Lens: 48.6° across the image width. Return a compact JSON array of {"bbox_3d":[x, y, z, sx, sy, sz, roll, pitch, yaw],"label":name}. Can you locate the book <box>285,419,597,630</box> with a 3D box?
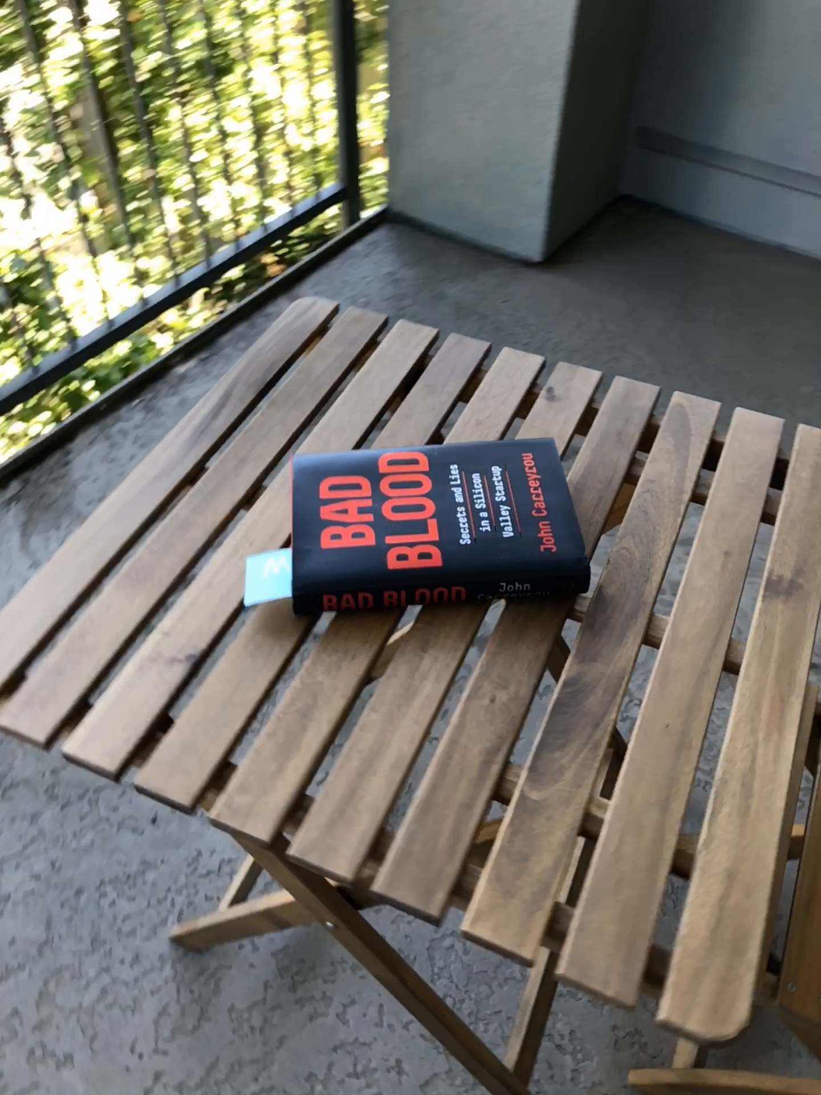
[{"bbox_3d":[0.017,-0.026,0.785,0.240,0.050,0.181,-4,48,-5],"label":"book"}]
